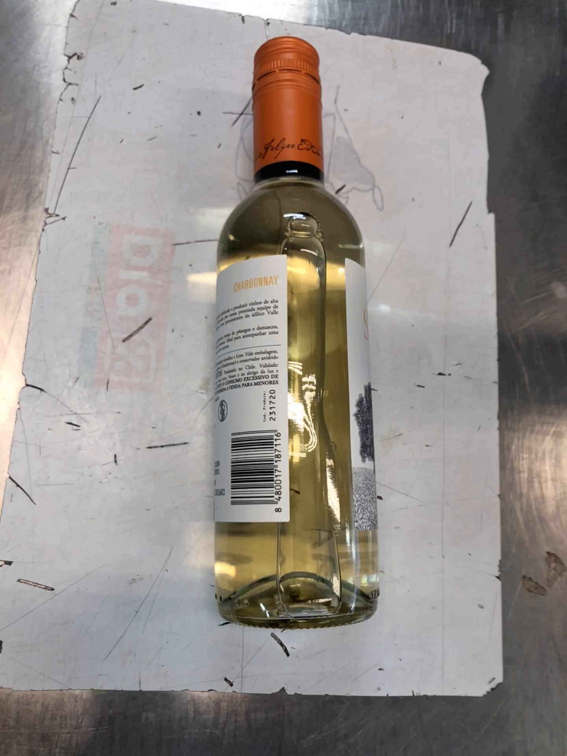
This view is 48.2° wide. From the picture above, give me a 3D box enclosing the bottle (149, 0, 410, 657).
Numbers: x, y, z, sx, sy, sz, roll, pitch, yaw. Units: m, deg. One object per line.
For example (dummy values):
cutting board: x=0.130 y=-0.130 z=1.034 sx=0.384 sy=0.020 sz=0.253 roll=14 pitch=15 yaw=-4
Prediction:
bottle: x=-0.005 y=-0.043 z=0.257 sx=0.070 sy=0.070 sz=0.270 roll=6 pitch=77 yaw=-29
